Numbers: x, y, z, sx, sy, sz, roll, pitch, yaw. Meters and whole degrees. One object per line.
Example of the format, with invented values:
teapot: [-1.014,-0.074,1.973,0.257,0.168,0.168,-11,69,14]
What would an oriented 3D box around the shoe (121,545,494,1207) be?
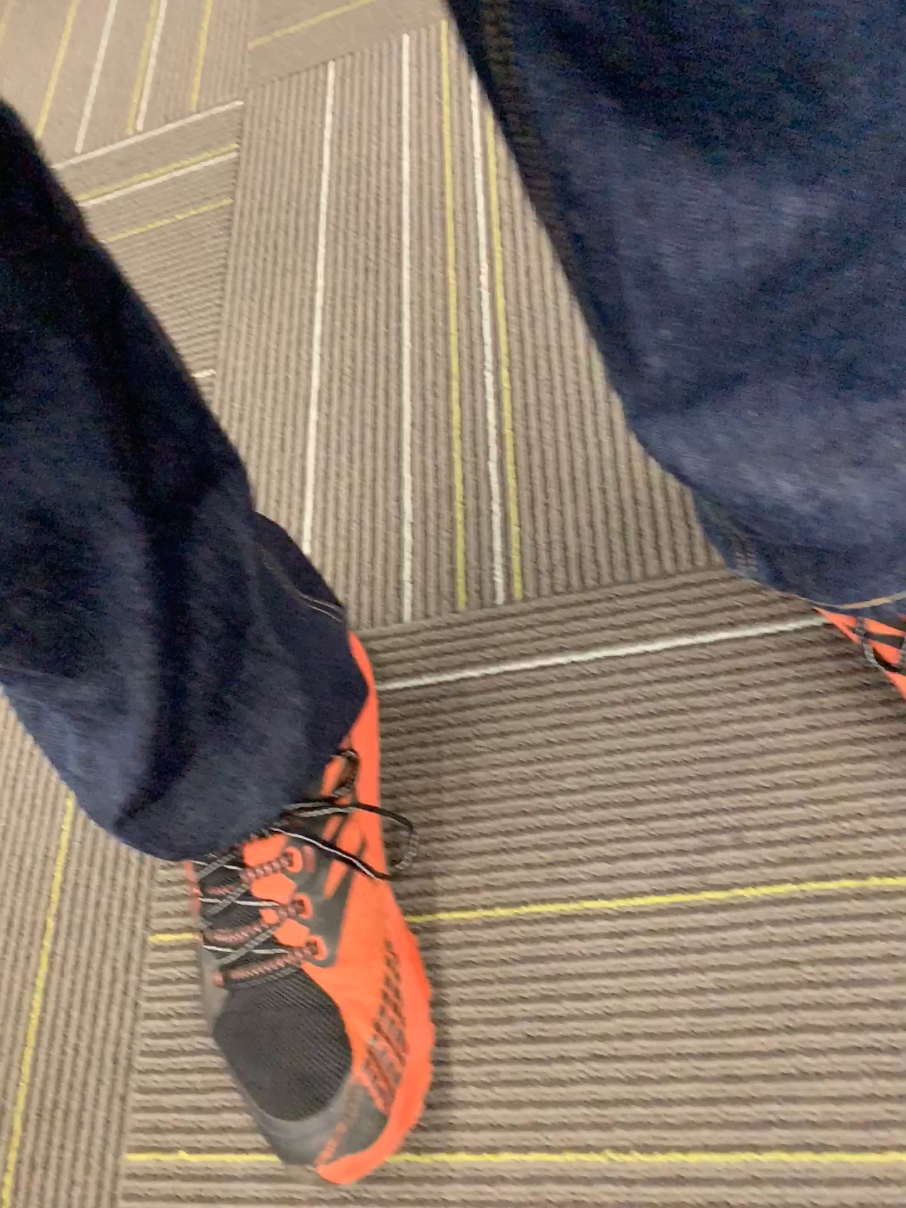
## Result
shoe: [-0.091,0.145,0.528,0.120,0.120,0.321,-22,59,10]

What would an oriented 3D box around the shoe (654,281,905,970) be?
shoe: [0.243,-0.003,0.446,0.130,0.100,0.301,-34,58,3]
